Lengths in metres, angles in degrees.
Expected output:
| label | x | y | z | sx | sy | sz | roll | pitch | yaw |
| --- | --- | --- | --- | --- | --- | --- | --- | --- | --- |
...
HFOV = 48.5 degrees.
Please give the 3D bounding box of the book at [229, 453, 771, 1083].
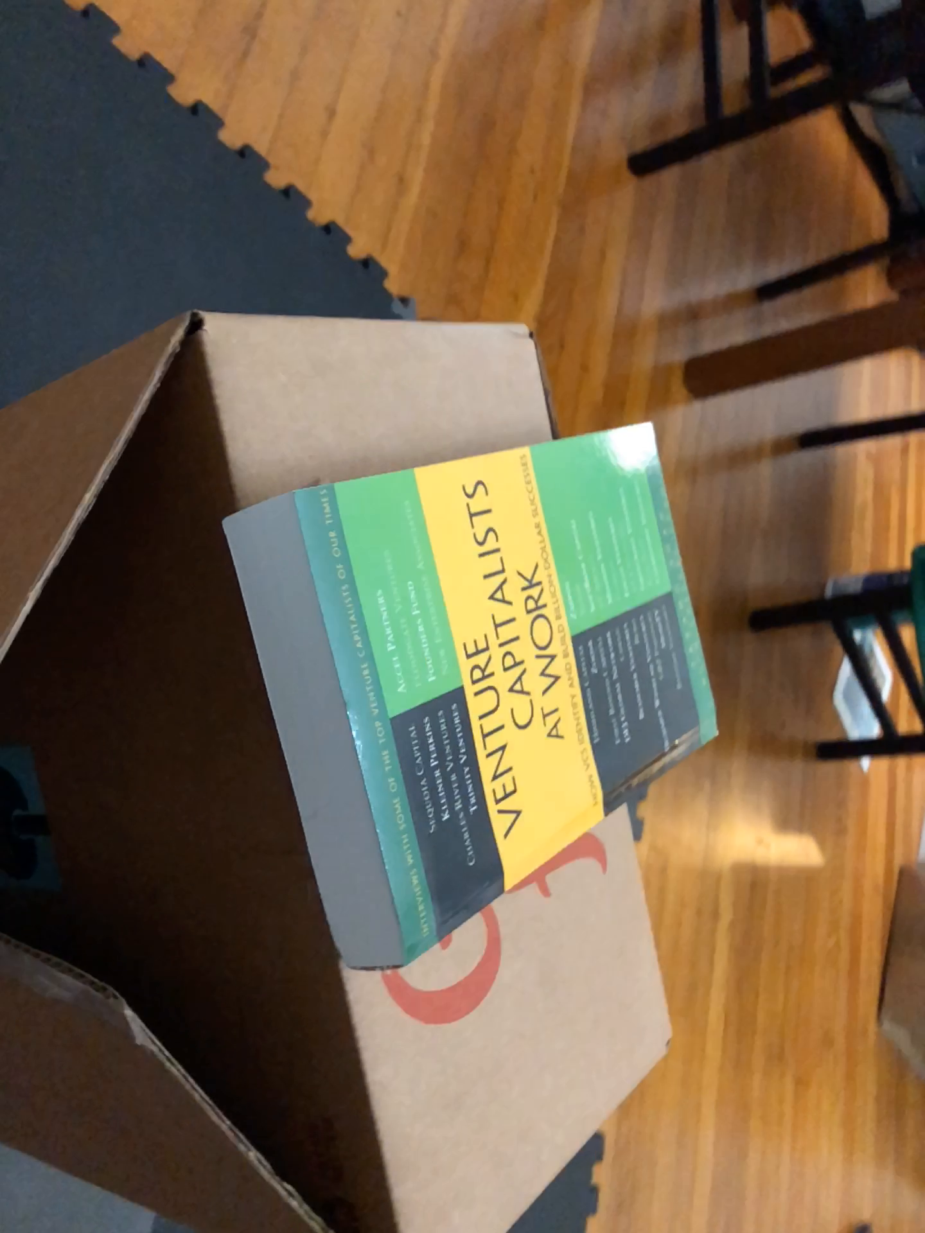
| label | x | y | z | sx | sy | sz | roll | pitch | yaw |
| --- | --- | --- | --- | --- | --- | --- | --- | --- | --- |
| book | 0.041 | 0.032 | 0.406 | 0.261 | 0.040 | 0.160 | -21 | 101 | -50 |
